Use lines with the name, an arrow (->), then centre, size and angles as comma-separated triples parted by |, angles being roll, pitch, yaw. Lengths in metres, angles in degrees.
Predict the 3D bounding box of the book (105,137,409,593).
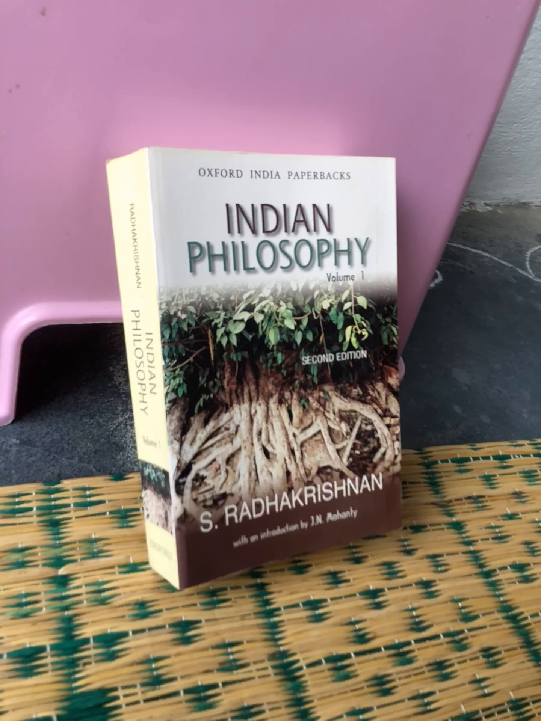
book -> -0.006, -0.003, 0.335 | 0.140, 0.210, 0.070 | -6, 3, -28
